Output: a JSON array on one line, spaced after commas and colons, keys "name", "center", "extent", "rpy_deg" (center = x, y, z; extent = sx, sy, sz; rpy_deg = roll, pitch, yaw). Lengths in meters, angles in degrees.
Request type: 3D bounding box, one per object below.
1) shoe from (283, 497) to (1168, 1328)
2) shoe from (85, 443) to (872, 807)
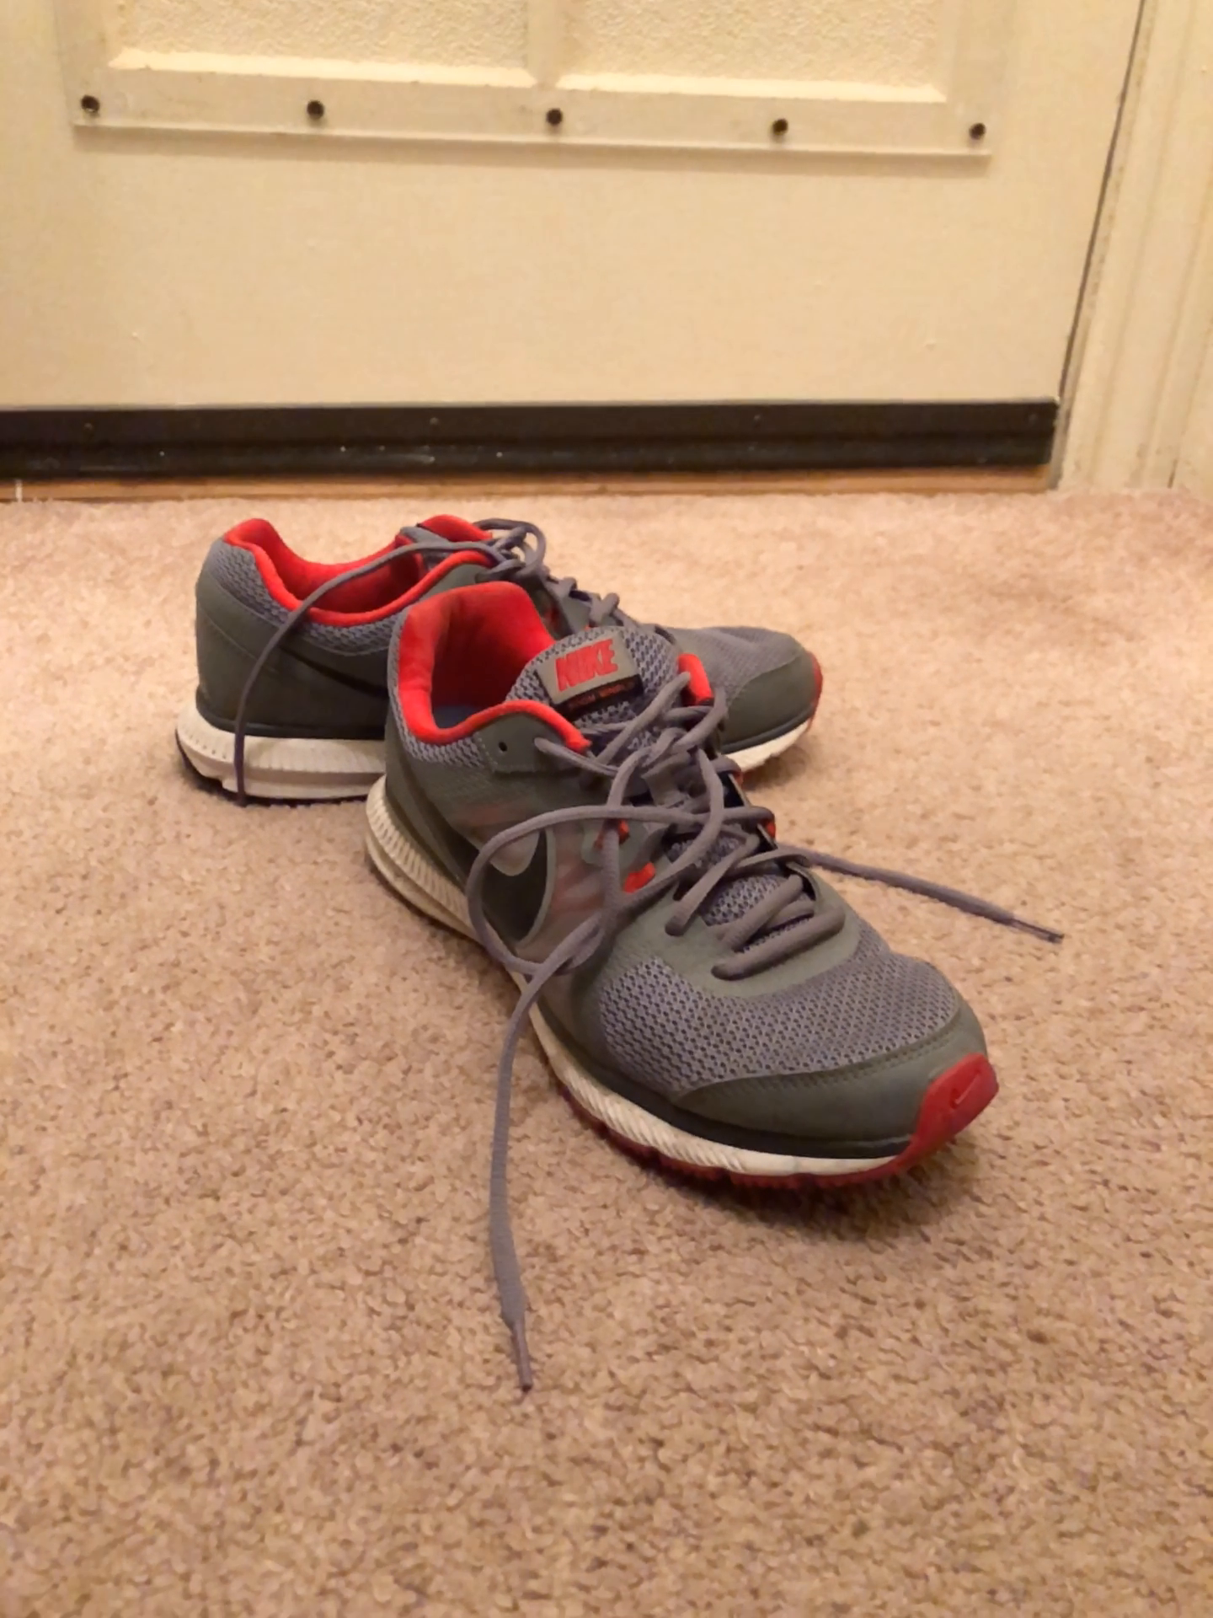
[{"name": "shoe", "center": [0.010, 0.003, 0.448], "extent": [0.113, 0.119, 0.298], "rpy_deg": [-18, 36, -31]}, {"name": "shoe", "center": [-0.051, -0.082, 0.586], "extent": [0.297, 0.119, 0.114], "rpy_deg": [0, 30, -5]}]
